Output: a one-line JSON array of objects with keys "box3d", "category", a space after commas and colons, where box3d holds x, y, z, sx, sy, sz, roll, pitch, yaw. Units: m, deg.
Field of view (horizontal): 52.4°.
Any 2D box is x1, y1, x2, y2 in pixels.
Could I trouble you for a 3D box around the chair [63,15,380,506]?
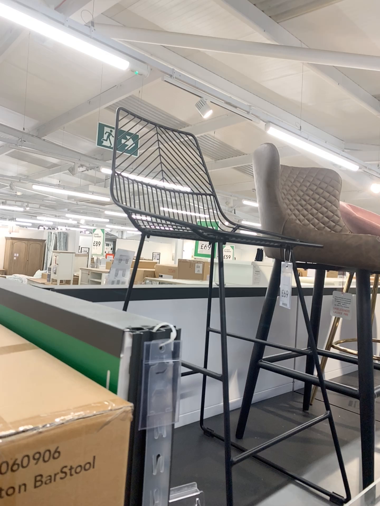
[{"box3d": [0.085, 0.098, 0.978, 0.508, 0.968, 0.528, 6, -1, -43], "category": "chair"}]
